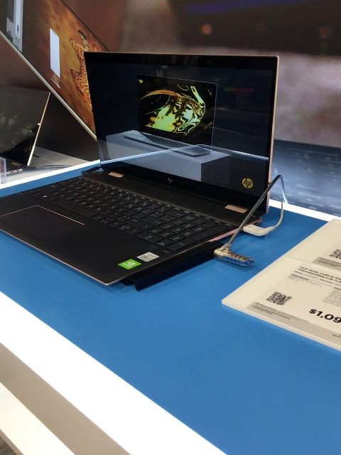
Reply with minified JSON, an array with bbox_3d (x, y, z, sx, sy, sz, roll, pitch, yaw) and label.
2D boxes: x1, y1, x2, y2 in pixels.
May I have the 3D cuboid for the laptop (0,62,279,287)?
[{"bbox_3d":[-0.112,-0.107,0.625,0.362,0.211,0.279,22,37,40],"label":"laptop"}]
